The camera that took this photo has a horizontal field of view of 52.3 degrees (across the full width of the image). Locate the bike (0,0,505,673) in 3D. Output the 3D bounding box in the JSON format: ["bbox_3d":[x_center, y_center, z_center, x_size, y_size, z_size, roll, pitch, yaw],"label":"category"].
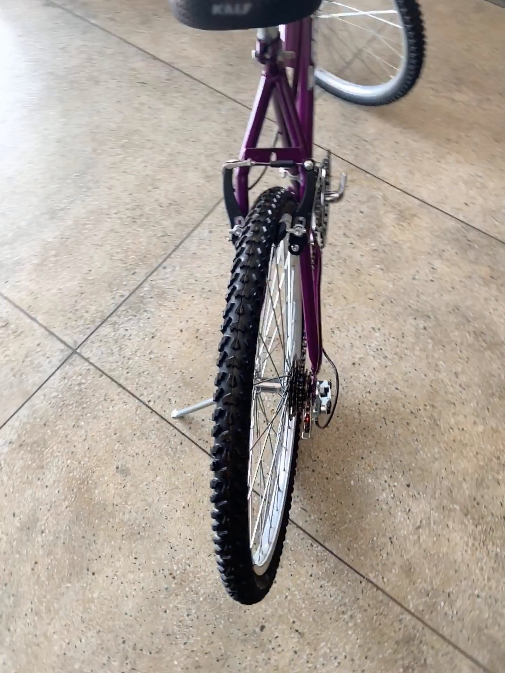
[{"bbox_3d":[-0.035,-0.416,0.830,0.573,1.037,1.526,-3,66,0],"label":"bike"}]
